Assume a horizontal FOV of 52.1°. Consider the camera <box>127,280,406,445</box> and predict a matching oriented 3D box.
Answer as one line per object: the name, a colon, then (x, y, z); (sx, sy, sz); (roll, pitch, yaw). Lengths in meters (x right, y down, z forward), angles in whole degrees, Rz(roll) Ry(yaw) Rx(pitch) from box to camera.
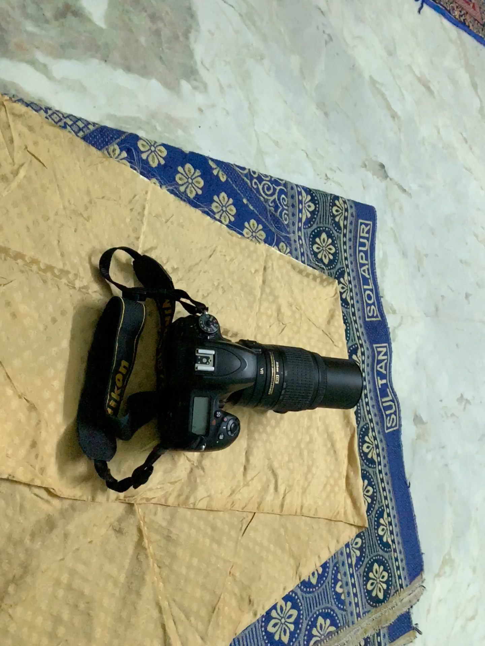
camera: (0.020, 0.063, 0.549); (0.241, 0.179, 0.140); (7, 74, -28)
